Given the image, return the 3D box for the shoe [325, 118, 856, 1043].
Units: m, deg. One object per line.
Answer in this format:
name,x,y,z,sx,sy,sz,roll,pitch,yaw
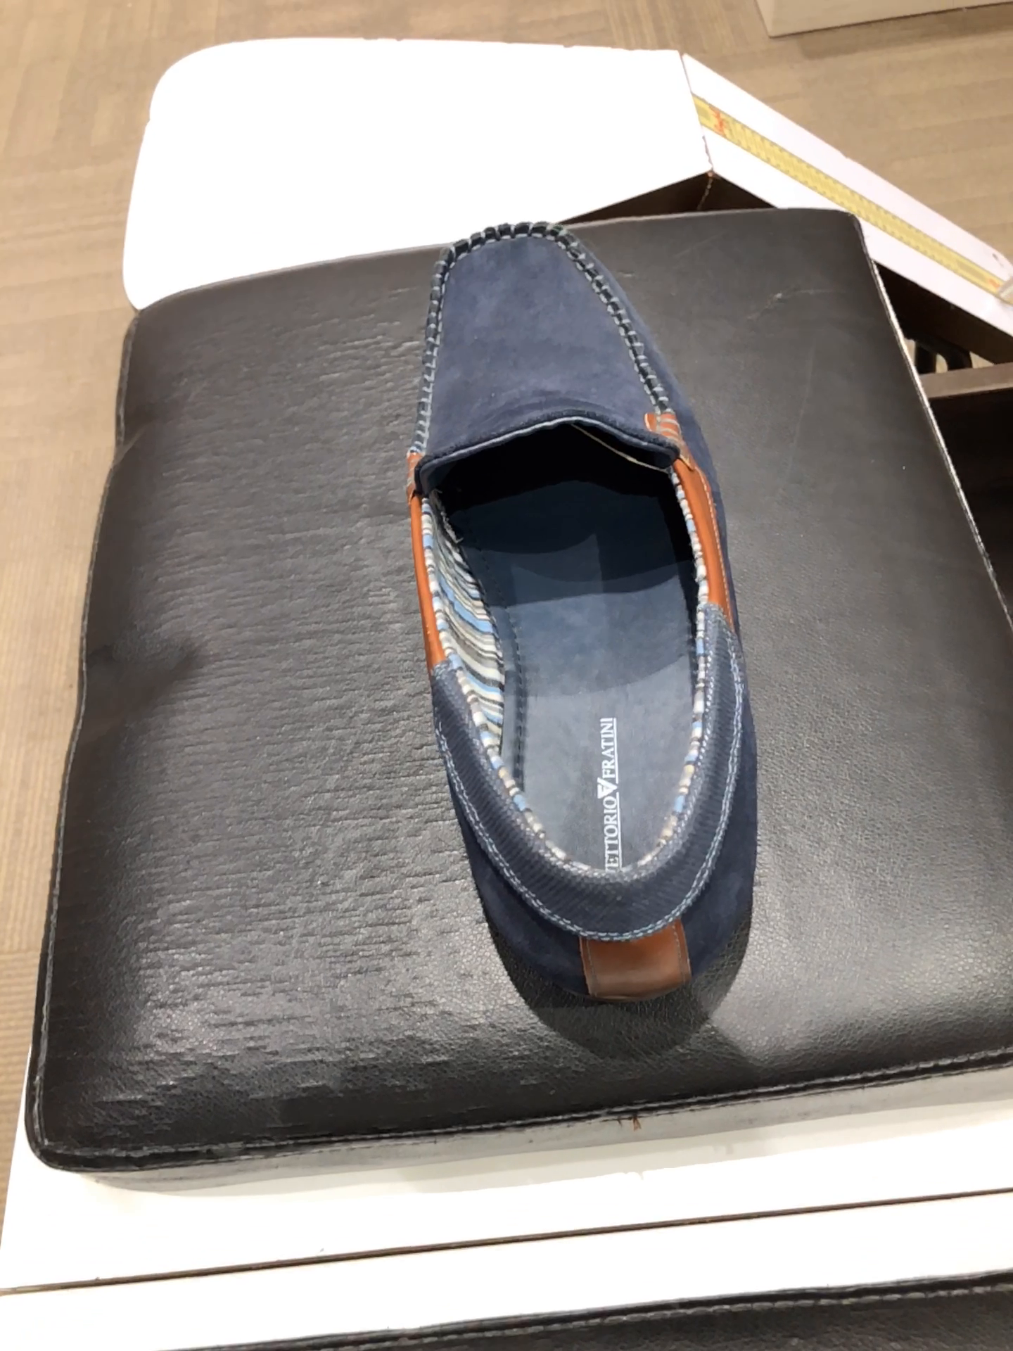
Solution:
shoe,0.012,-0.045,0.375,0.110,0.100,0.292,-10,58,1
